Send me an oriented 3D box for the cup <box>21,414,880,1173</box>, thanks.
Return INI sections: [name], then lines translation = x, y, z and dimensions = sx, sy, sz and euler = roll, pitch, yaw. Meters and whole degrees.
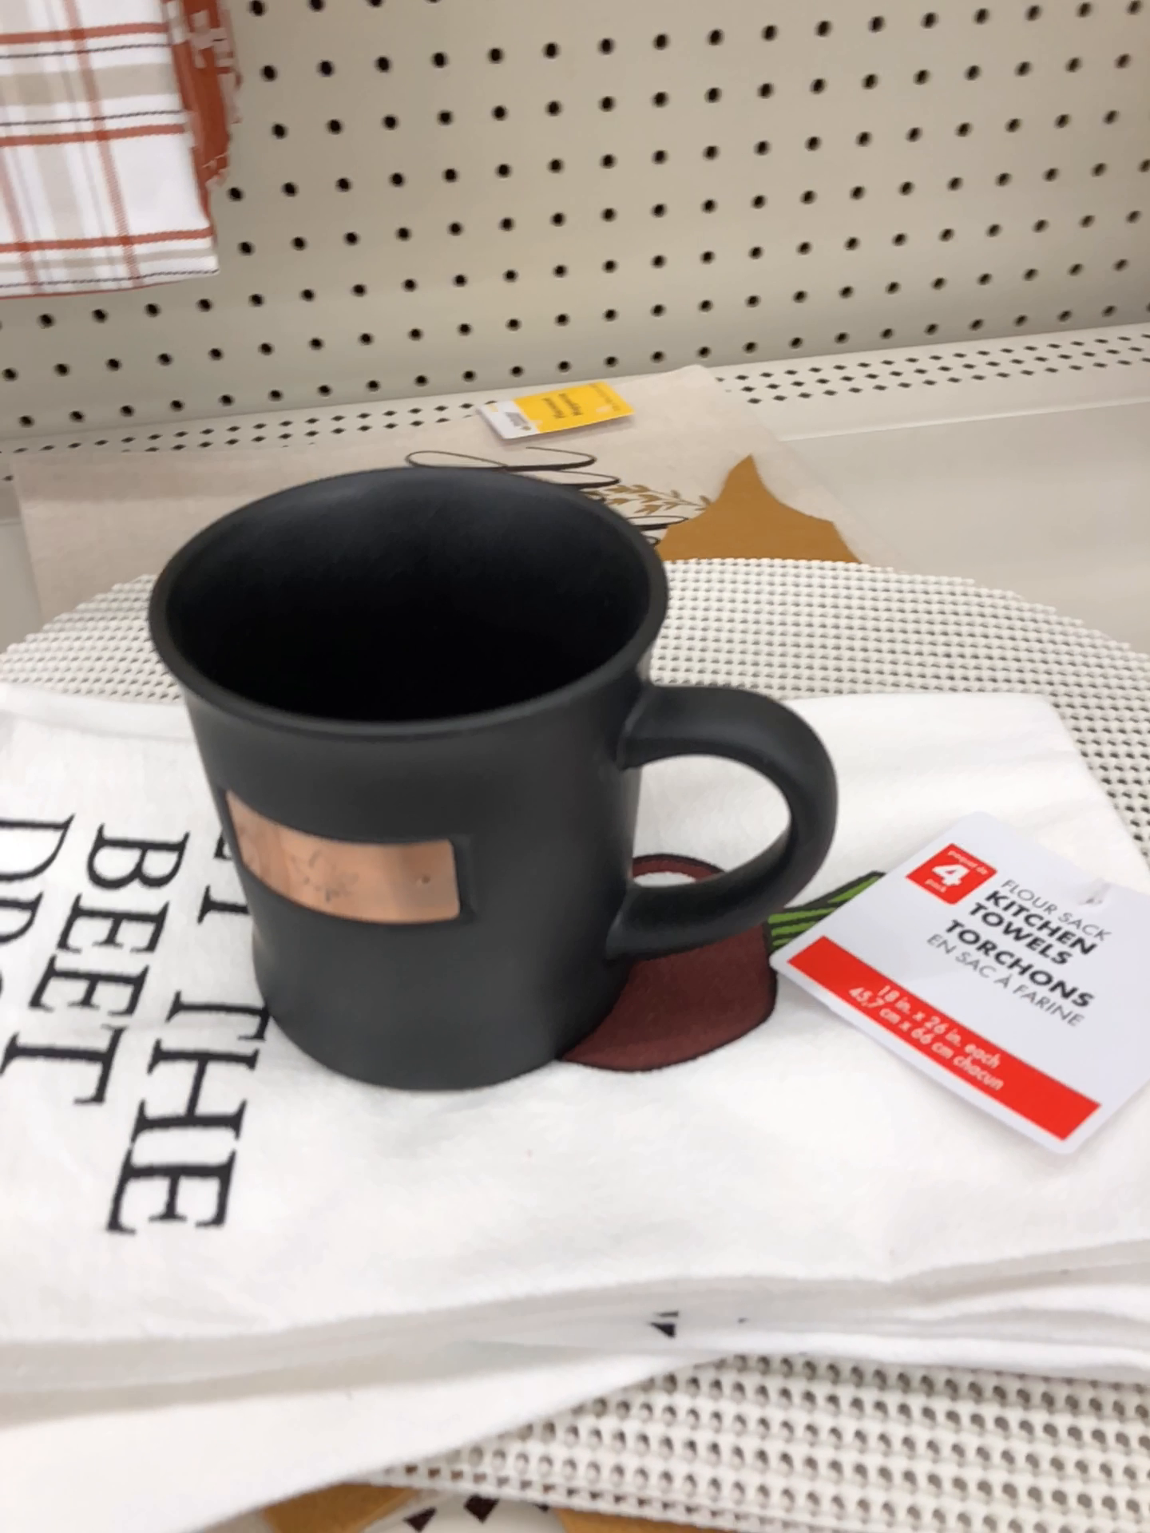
[cup]
translation = -0.014, 0.002, 0.279
dimensions = 0.140, 0.110, 0.100
euler = 8, 43, 12
